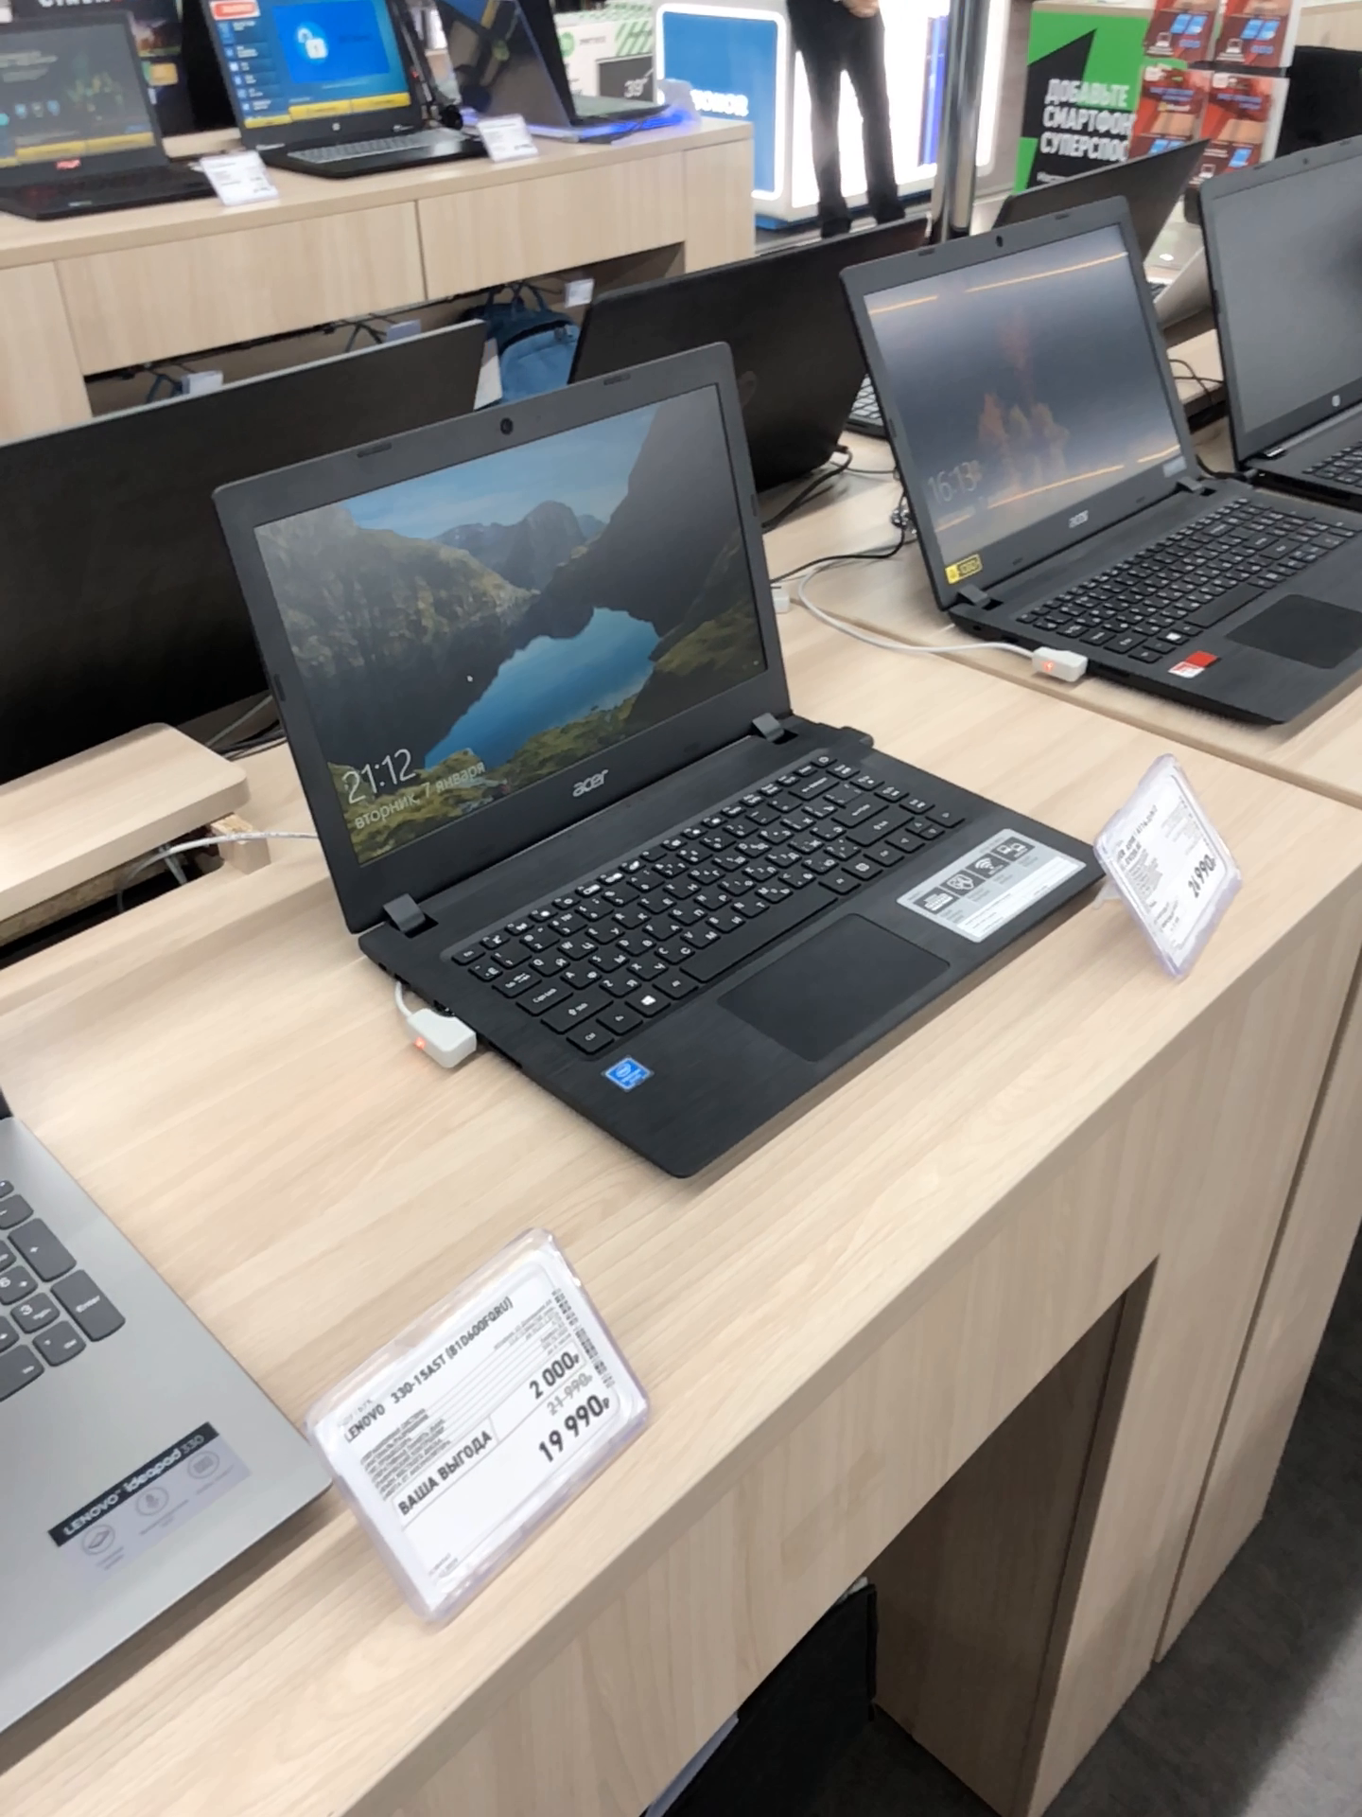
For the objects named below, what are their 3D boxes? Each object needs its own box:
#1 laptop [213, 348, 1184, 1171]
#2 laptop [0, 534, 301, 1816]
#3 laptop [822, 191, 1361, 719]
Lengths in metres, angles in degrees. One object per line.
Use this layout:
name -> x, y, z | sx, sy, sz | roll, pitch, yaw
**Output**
laptop -> 0.014, -0.111, 0.764 | 0.302, 0.223, 0.343 | 29, 44, 36
laptop -> -0.368, 0.102, 0.439 | 0.363, 0.236, 0.338 | -29, 44, -34
laptop -> 0.378, -0.363, 1.107 | 0.377, 0.216, 0.380 | 29, 45, 35
